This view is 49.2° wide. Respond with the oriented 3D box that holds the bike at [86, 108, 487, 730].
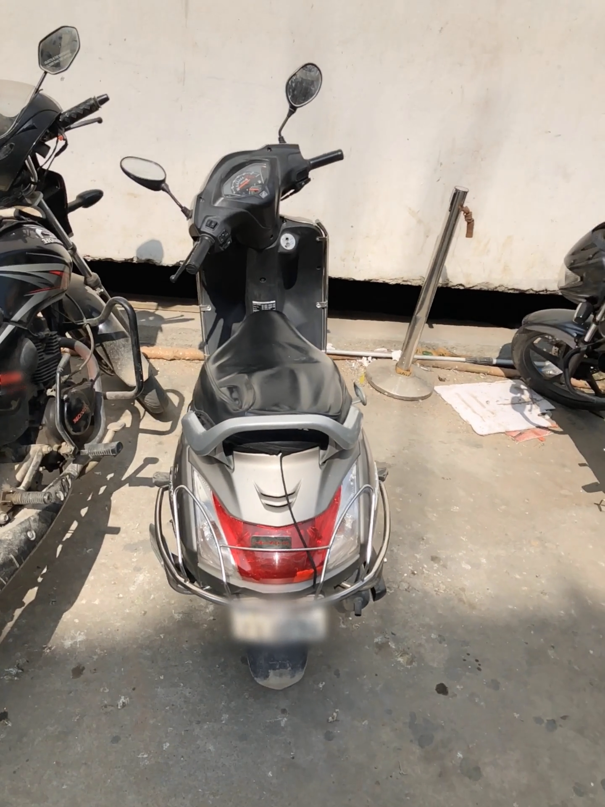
[{"bbox_3d":[-0.142,-0.105,1.923,0.616,1.108,1.507,6,31,-9],"label":"bike"}]
